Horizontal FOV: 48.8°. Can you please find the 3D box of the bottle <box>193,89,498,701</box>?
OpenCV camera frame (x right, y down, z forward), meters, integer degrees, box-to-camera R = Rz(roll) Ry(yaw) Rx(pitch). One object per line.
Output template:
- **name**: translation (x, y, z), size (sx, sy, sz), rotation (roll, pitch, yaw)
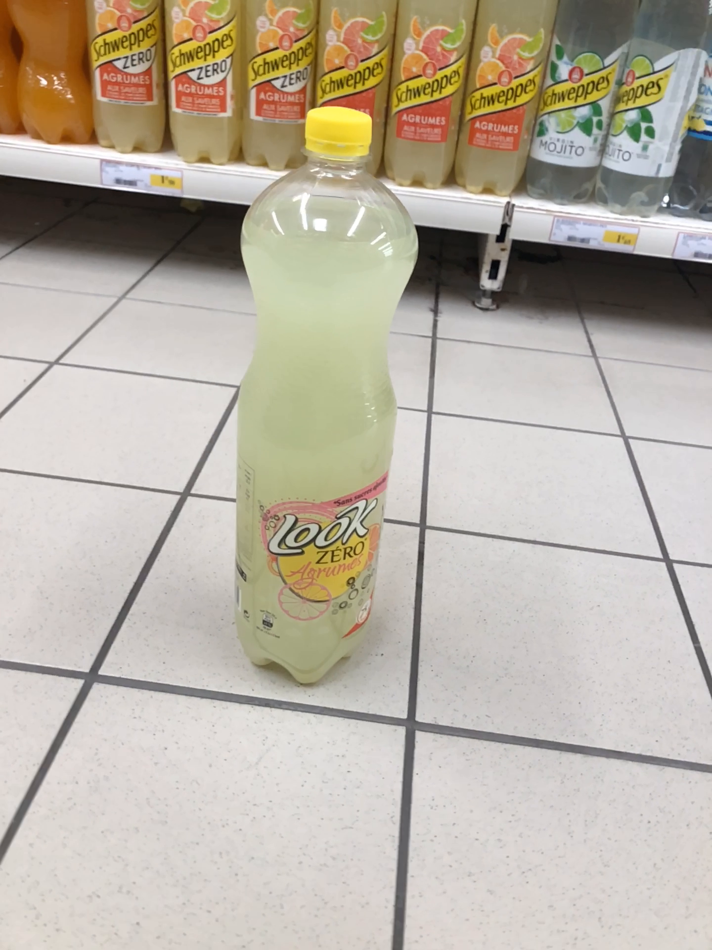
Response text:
- **bottle**: translation (-0.023, -0.030, 0.417), size (0.110, 0.298, 0.100), rotation (4, 32, -3)
